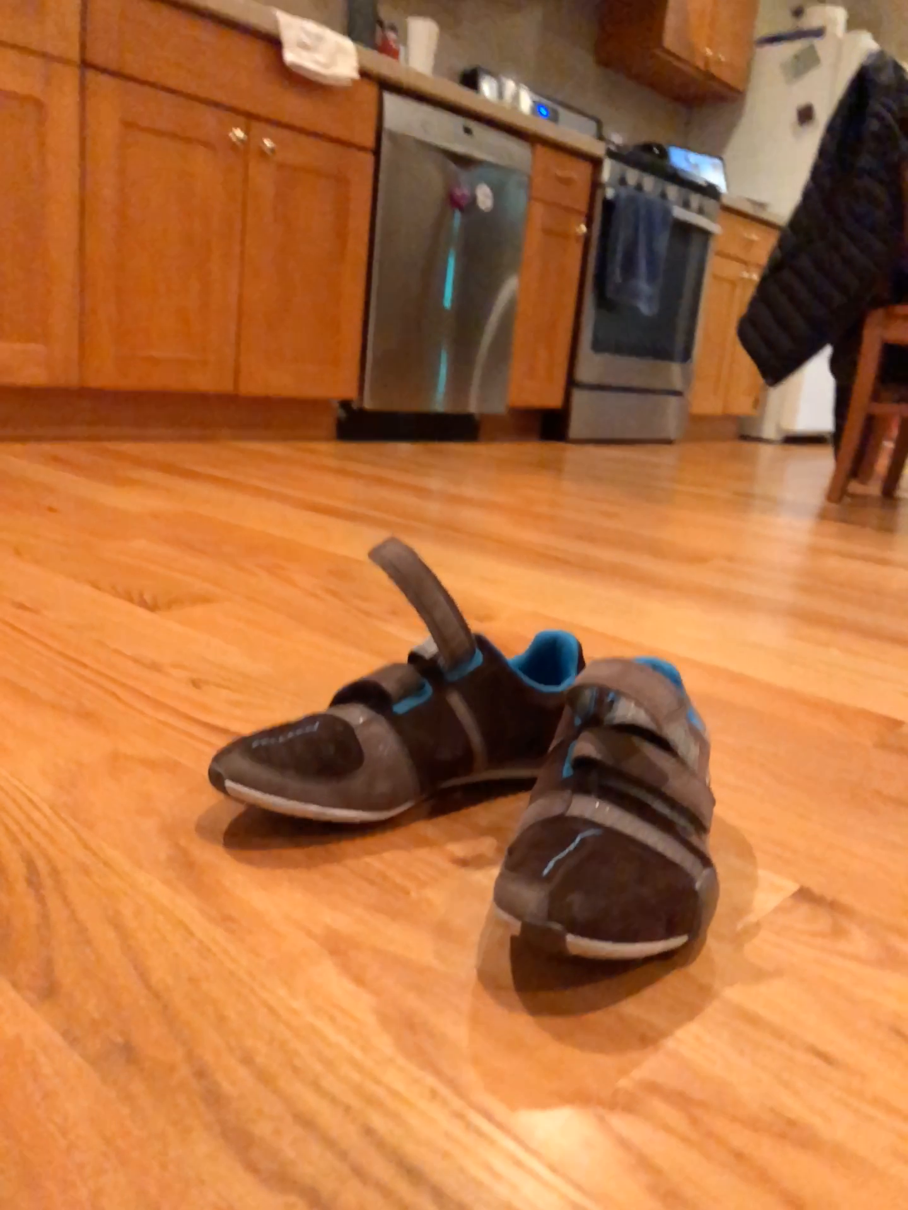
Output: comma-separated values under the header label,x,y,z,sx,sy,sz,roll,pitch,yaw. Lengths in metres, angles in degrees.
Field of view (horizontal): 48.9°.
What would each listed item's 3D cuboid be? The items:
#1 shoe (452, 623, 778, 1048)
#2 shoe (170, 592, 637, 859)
label,x,y,z,sx,sy,sz,roll,pitch,yaw
shoe,0.095,0.089,0.498,0.102,0.092,0.256,10,14,18
shoe,-0.023,0.057,0.589,0.255,0.092,0.102,-5,17,-37
